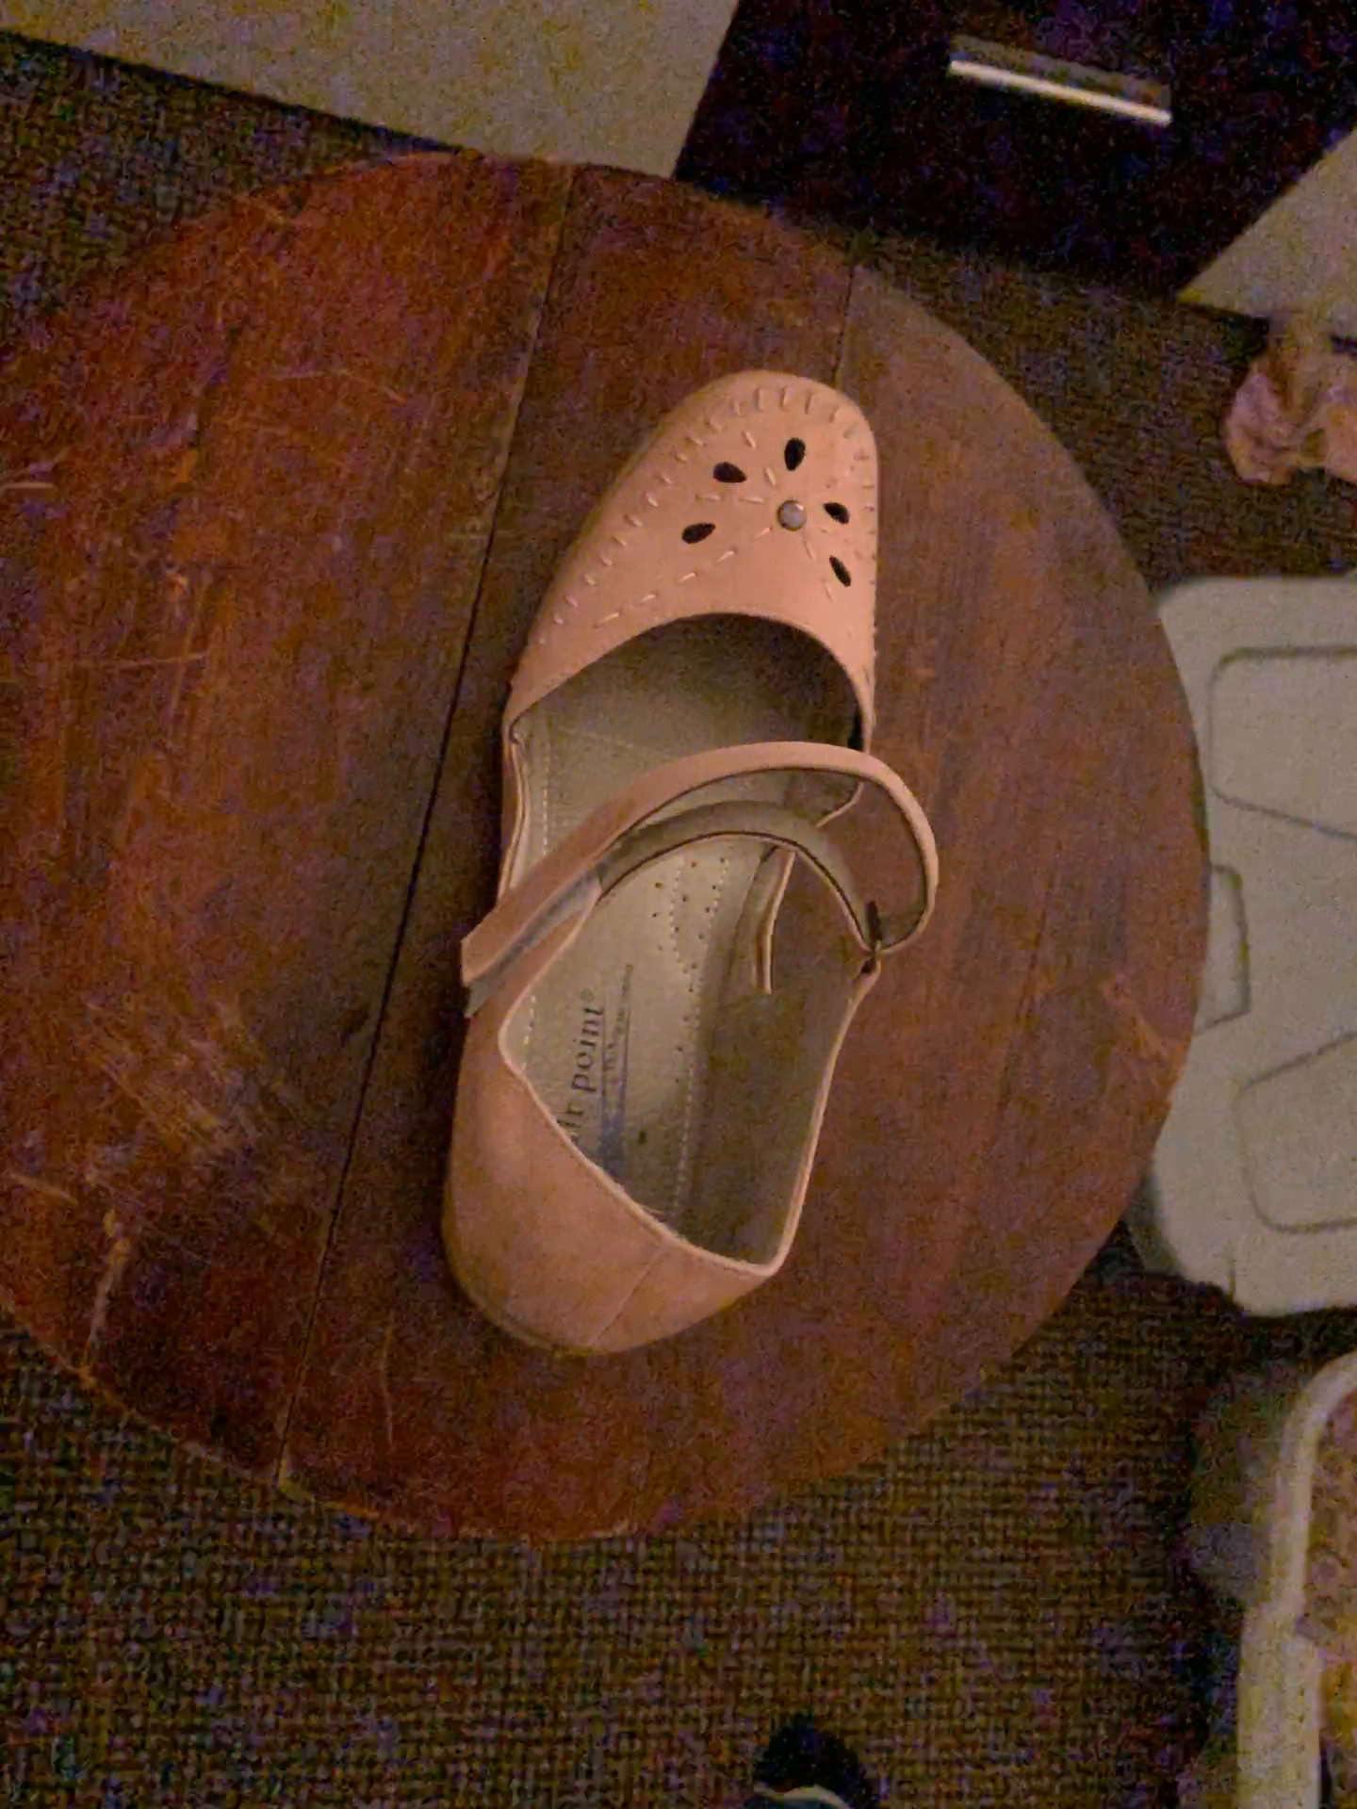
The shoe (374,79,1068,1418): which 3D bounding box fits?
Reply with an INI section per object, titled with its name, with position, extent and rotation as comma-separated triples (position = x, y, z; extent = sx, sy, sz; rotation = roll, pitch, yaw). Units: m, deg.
[shoe]
position = 0.009, -0.034, 0.335
extent = 0.101, 0.092, 0.272
rotation = 13, 77, -12
